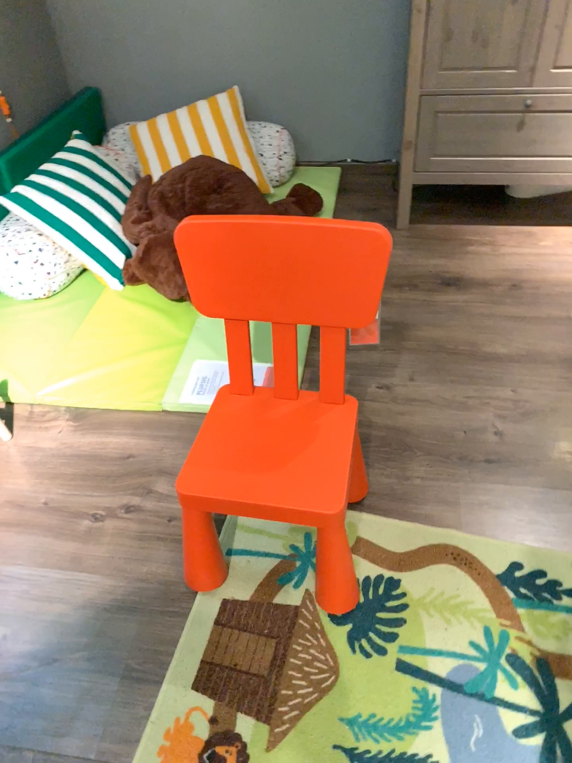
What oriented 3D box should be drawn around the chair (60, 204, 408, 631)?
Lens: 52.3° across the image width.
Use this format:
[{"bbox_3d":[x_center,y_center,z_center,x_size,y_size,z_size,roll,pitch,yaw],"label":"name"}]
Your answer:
[{"bbox_3d":[-0.021,0.063,1.104,0.430,0.598,0.492,5,43,11],"label":"chair"}]
